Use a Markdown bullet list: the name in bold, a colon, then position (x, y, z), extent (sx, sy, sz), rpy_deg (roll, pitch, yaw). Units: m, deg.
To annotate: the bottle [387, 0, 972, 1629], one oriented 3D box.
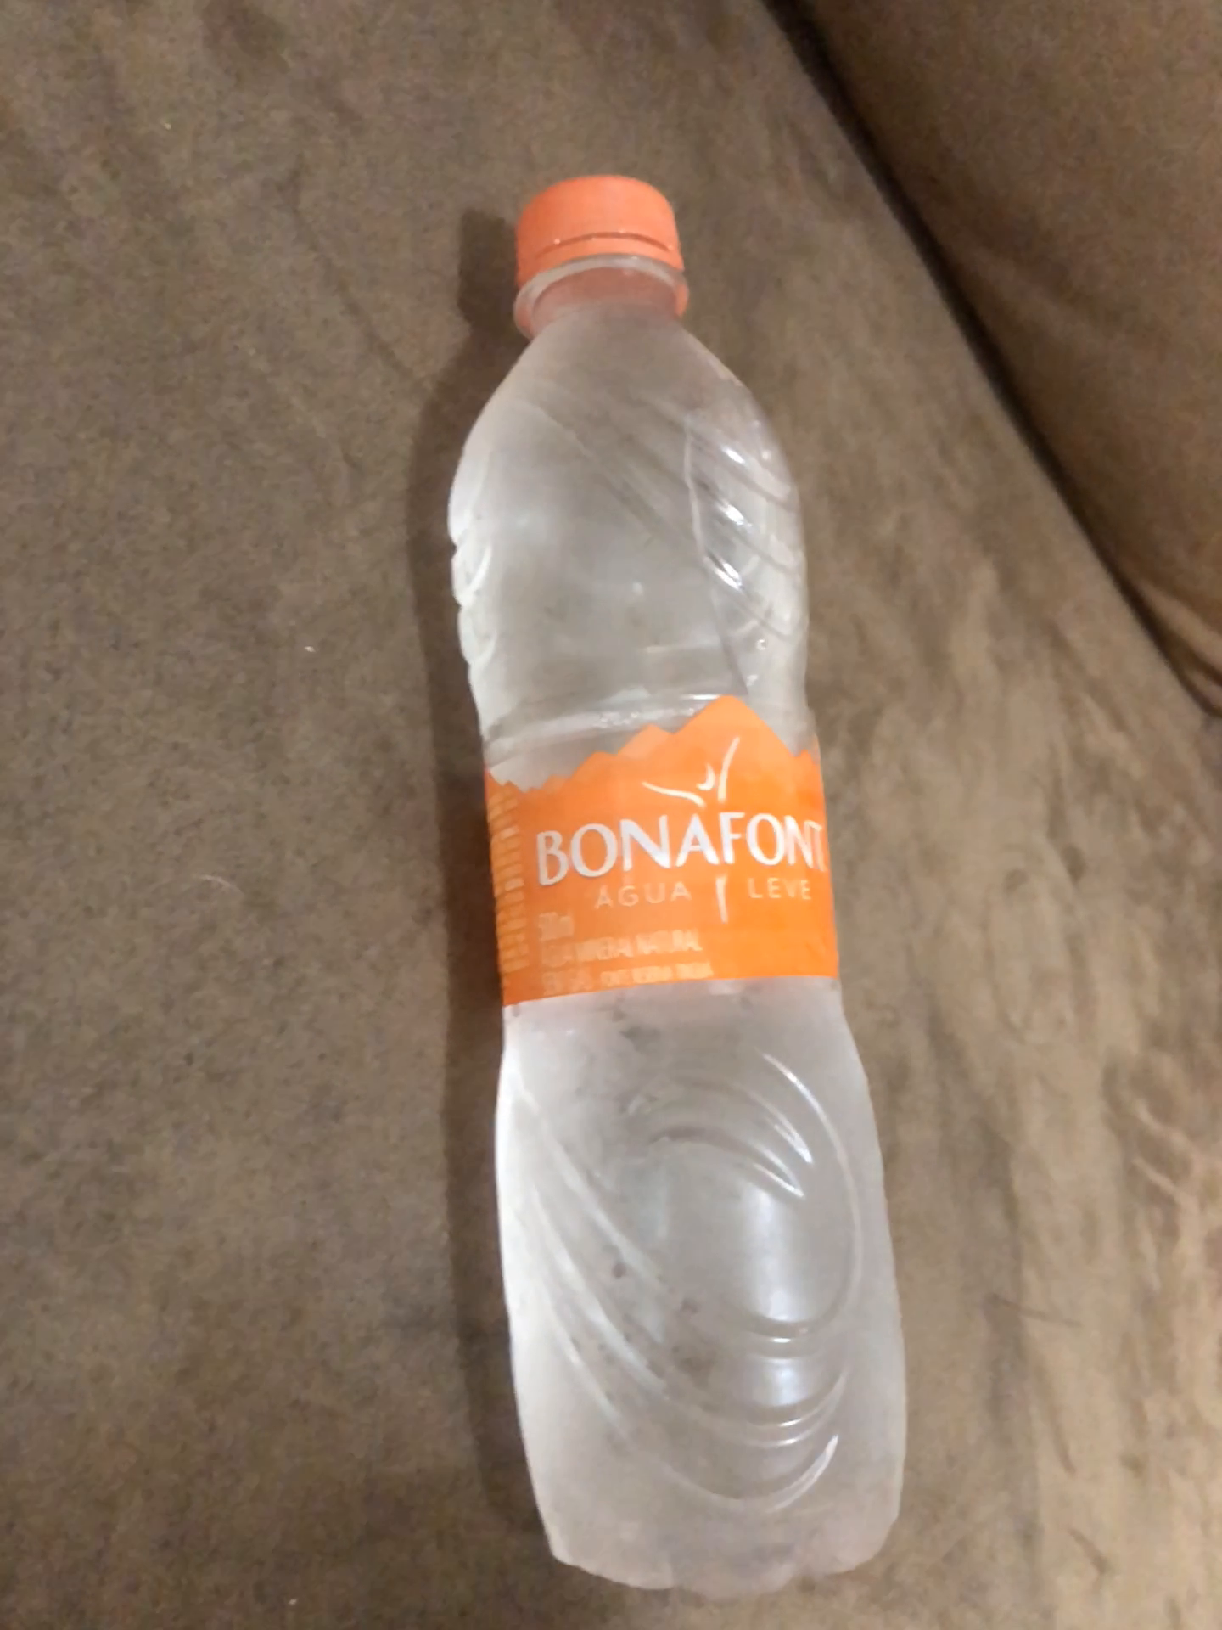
- **bottle**: position (0.010, -0.005, 0.232), extent (0.070, 0.050, 0.240), rpy_deg (9, 73, -52)
